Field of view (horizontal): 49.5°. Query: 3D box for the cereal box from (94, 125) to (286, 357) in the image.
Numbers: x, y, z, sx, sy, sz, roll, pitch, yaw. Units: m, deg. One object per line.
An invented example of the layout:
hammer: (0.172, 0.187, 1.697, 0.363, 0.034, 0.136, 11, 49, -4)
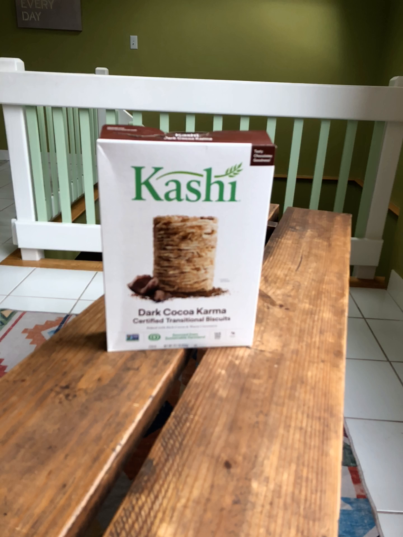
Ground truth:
cereal box: (-0.020, -0.025, 0.541, 0.200, 0.278, 0.060, -1, 27, -9)
